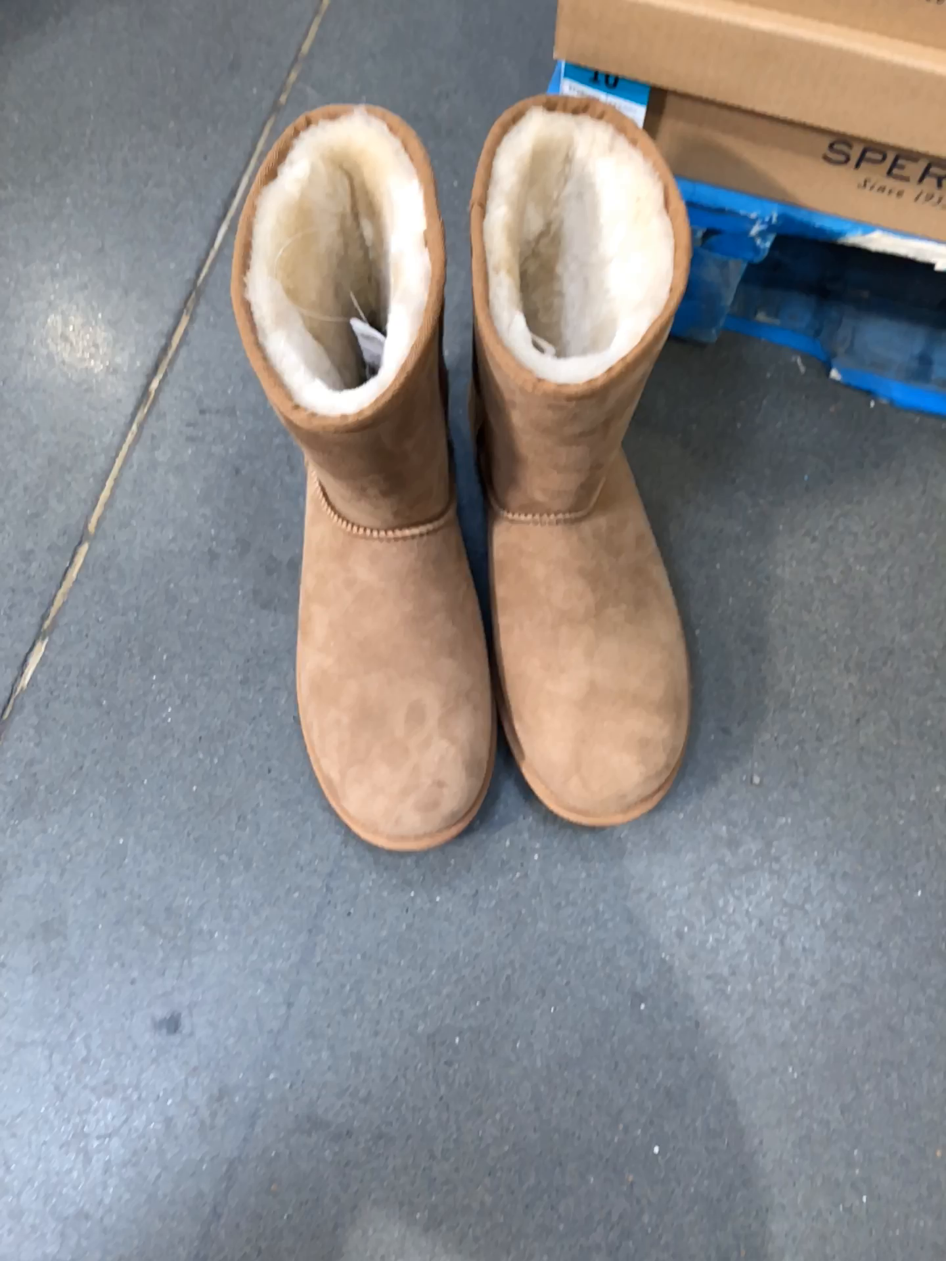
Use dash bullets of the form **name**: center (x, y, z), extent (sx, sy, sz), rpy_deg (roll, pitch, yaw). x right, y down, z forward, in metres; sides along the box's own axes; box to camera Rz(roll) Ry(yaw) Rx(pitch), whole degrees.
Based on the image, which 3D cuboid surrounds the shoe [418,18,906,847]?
- **shoe**: center (0.065, -0.069, 0.527), extent (0.130, 0.260, 0.310), rpy_deg (-8, 73, -1)

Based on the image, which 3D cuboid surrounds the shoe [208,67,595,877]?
- **shoe**: center (-0.033, -0.049, 0.526), extent (0.130, 0.260, 0.310), rpy_deg (-5, 73, 0)
